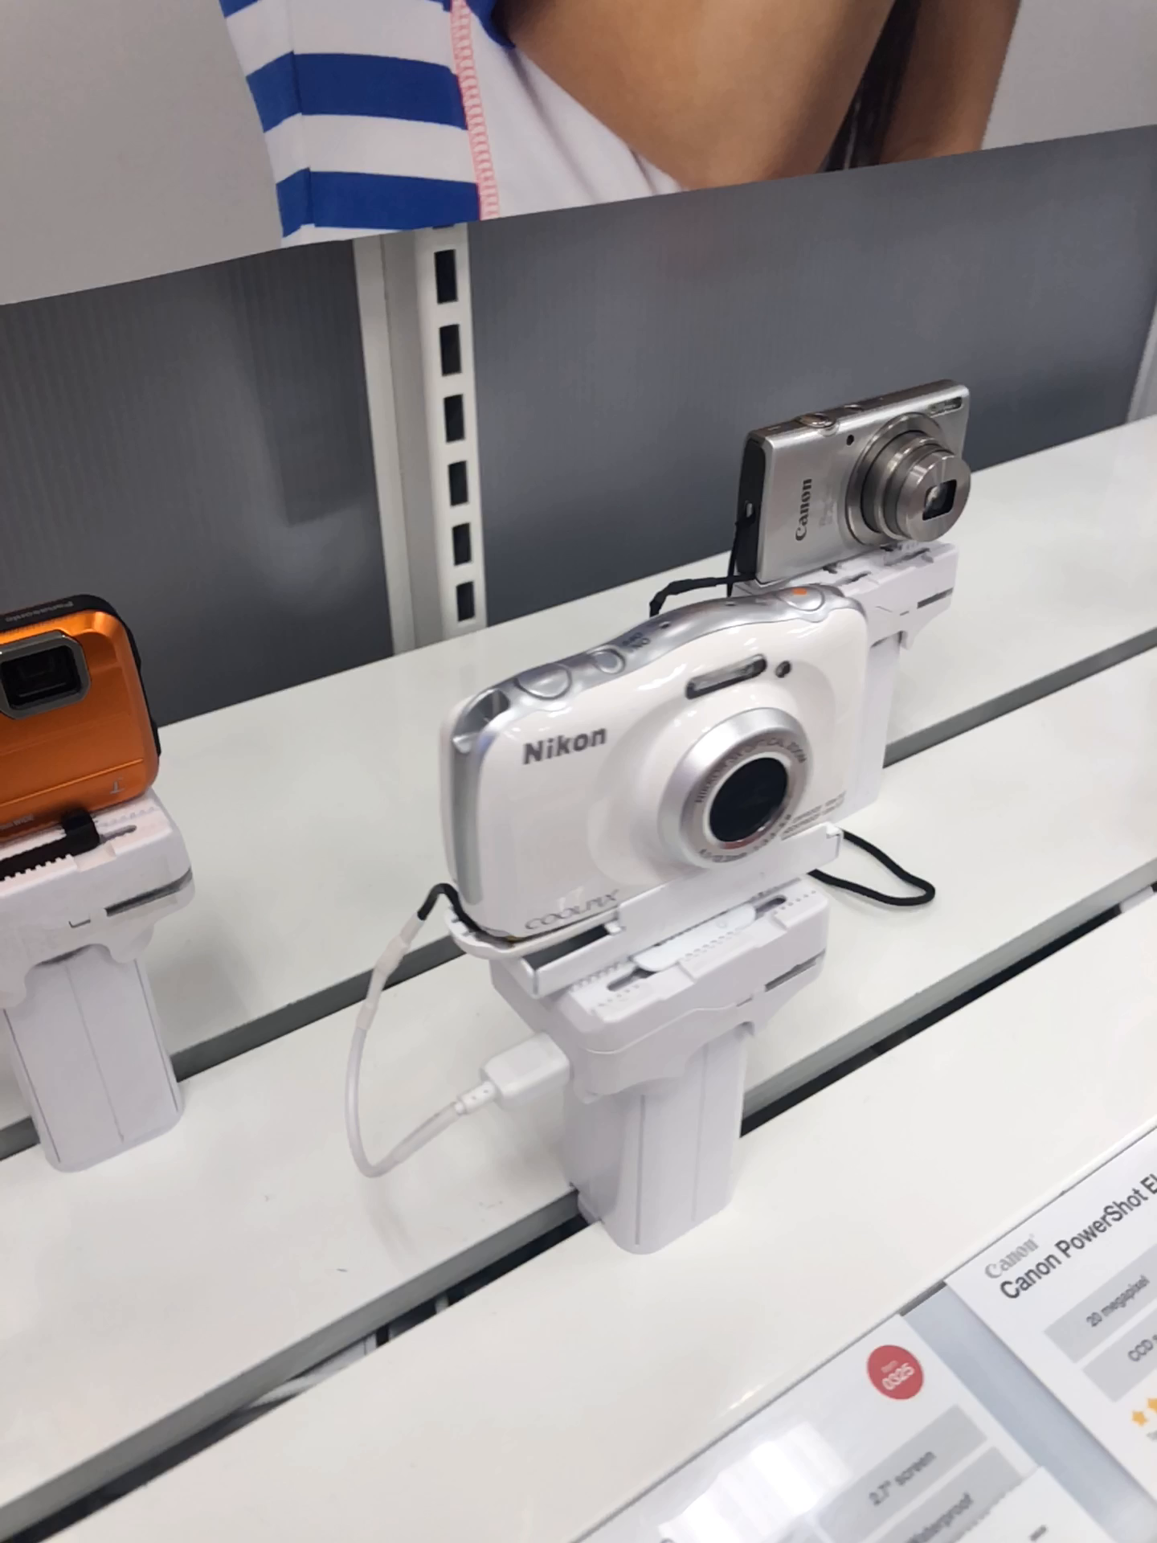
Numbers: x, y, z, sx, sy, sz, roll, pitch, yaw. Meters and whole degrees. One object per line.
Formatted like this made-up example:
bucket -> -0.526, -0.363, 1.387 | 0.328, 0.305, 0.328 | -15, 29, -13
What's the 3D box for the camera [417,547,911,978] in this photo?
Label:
camera -> 0.020, -0.005, 0.282 | 0.105, 0.056, 0.032 | -22, 41, -28
